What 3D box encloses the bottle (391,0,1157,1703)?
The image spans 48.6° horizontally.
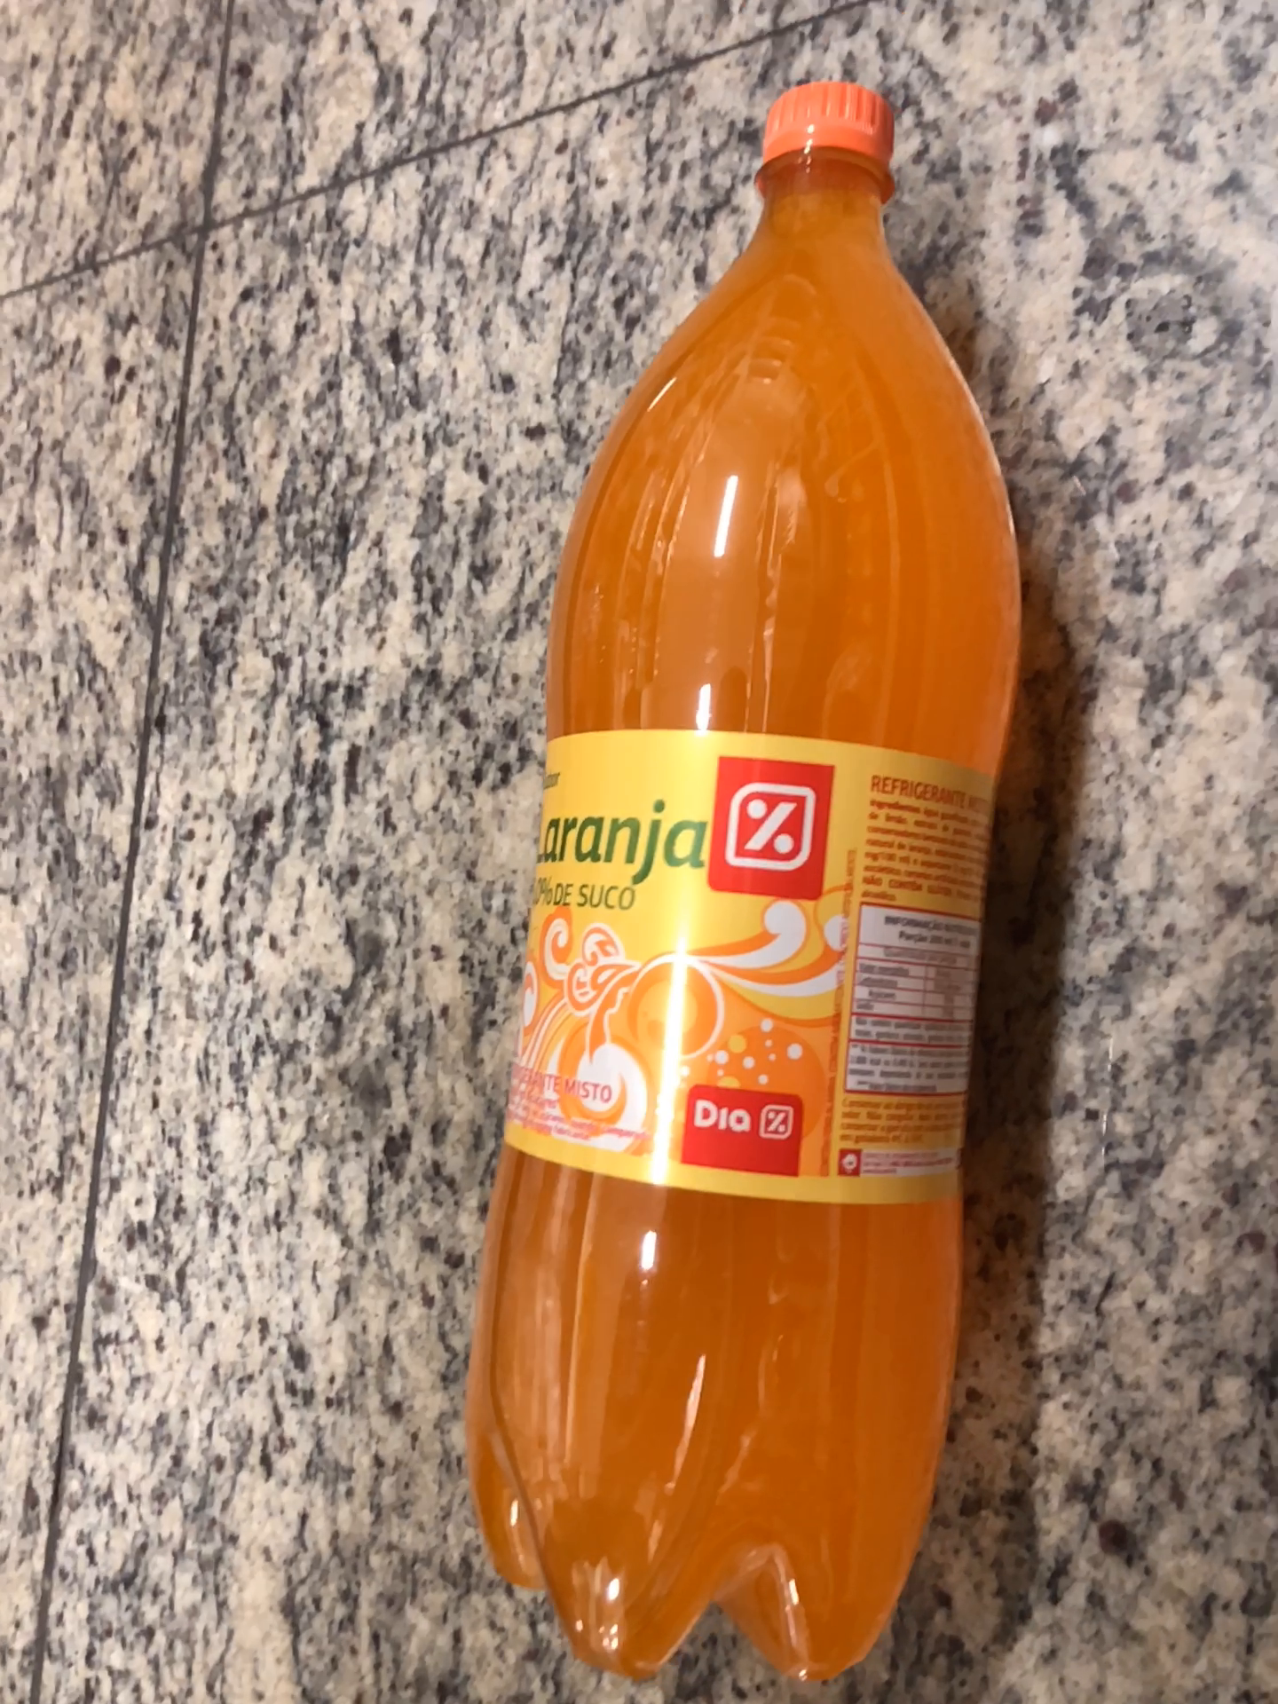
[{"bbox_3d":[0.033,-0.009,0.313,0.120,0.070,0.350,2,83,34],"label":"bottle"}]
